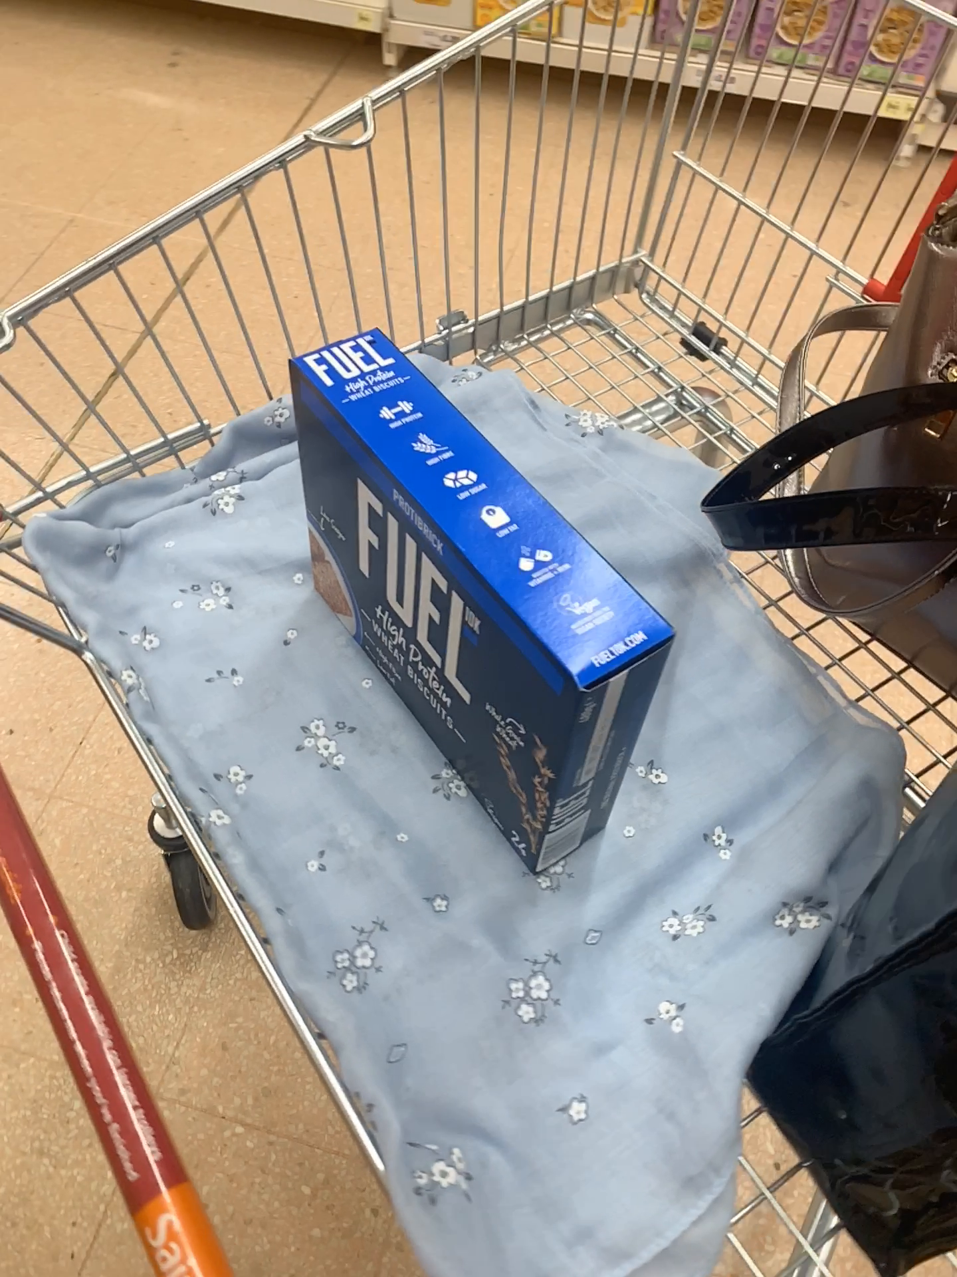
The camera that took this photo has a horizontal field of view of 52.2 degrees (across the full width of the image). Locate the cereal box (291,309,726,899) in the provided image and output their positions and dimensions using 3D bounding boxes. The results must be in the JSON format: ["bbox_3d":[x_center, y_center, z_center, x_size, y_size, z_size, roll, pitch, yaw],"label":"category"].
[{"bbox_3d":[0.000,-0.013,0.527,0.060,0.208,0.251,-29,62,-21],"label":"cereal box"}]
